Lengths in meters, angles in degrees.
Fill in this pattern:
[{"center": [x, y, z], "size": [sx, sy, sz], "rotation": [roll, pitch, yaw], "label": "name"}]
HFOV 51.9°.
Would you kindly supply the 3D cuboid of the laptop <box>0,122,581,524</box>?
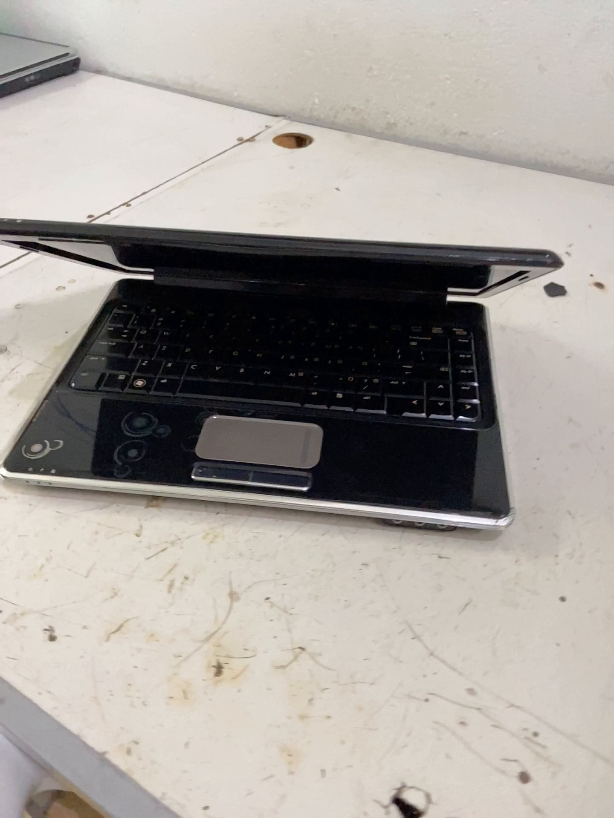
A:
[{"center": [-0.022, -0.076, 0.434], "size": [0.327, 0.137, 0.232], "rotation": [5, 44, 6], "label": "laptop"}]
